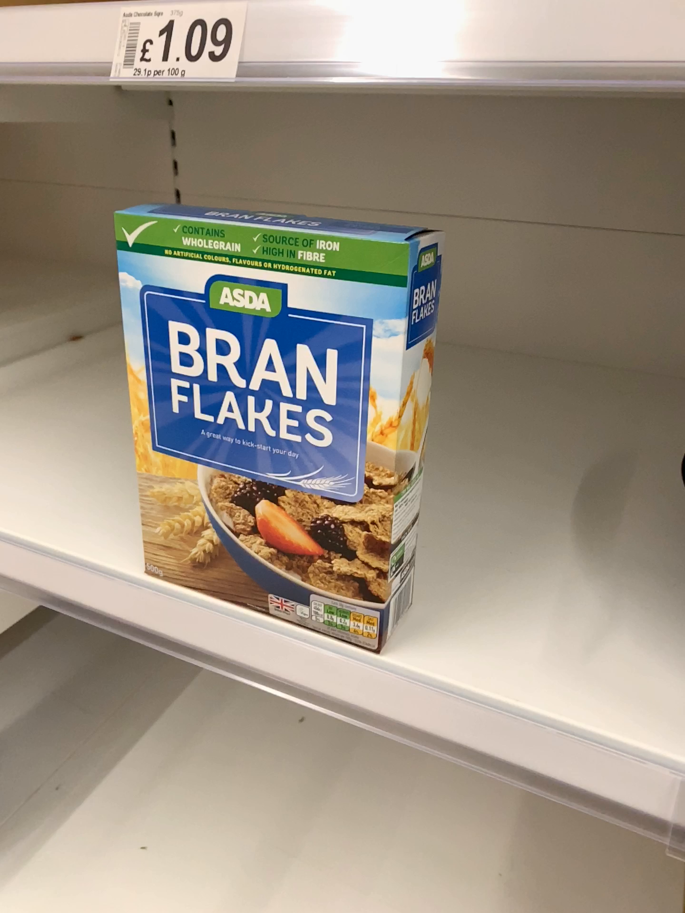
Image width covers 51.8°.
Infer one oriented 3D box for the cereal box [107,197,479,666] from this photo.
[{"bbox_3d":[-0.039,-0.025,0.492,0.220,0.278,0.081,13,25,23],"label":"cereal box"}]
